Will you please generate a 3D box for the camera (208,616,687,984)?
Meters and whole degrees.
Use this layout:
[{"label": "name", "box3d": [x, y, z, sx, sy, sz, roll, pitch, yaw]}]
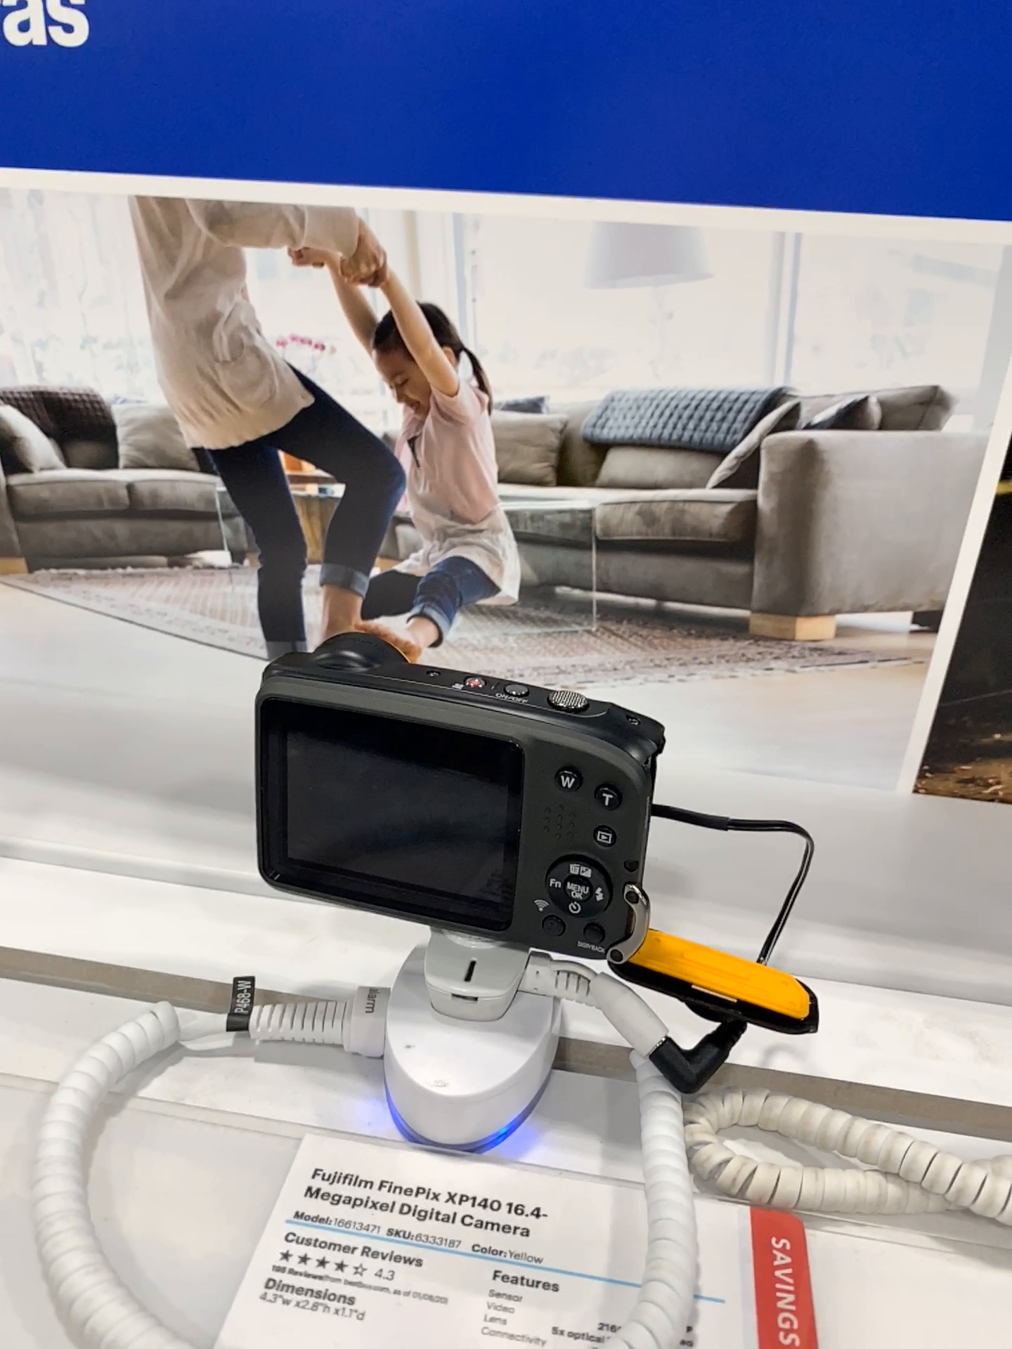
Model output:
[{"label": "camera", "box3d": [-0.015, 0.029, 0.270, 0.110, 0.060, 0.040, 12, 22, 8]}]
